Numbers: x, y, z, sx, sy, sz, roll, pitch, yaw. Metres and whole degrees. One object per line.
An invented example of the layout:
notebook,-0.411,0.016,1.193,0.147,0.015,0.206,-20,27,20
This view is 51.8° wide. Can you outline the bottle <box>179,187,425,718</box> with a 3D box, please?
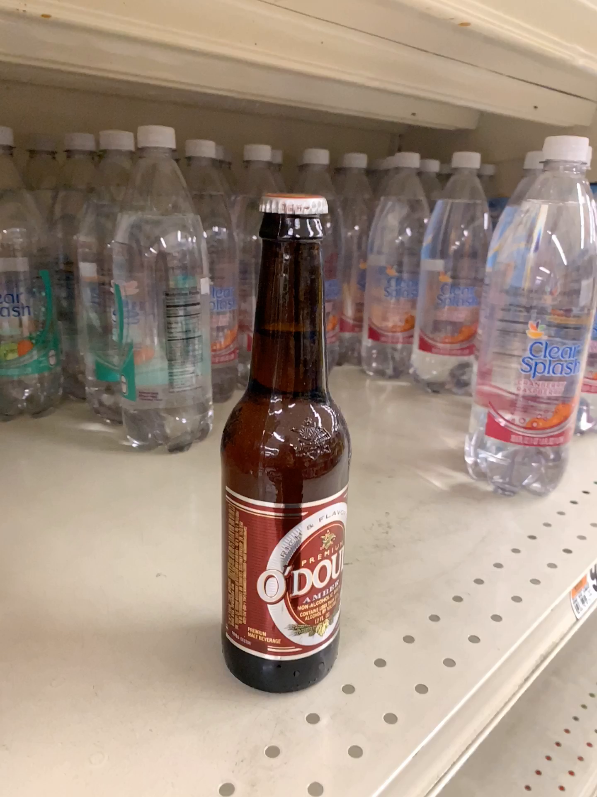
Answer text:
bottle,-0.005,0.021,0.282,0.070,0.219,0.070,2,19,-1
